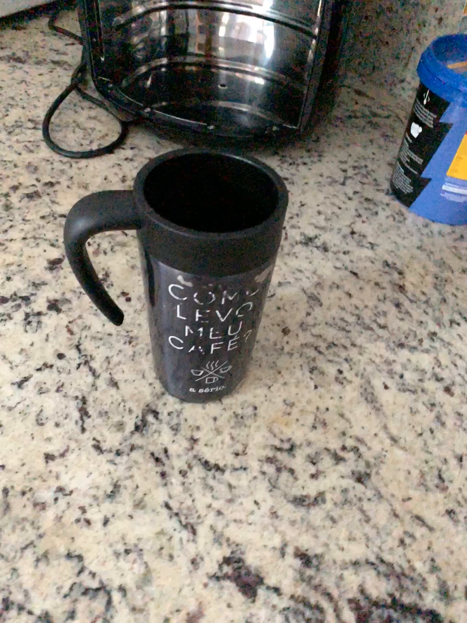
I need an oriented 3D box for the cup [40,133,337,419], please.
[{"bbox_3d":[-0.027,-0.014,0.272,0.120,0.139,0.080,-3,49,-10],"label":"cup"}]
